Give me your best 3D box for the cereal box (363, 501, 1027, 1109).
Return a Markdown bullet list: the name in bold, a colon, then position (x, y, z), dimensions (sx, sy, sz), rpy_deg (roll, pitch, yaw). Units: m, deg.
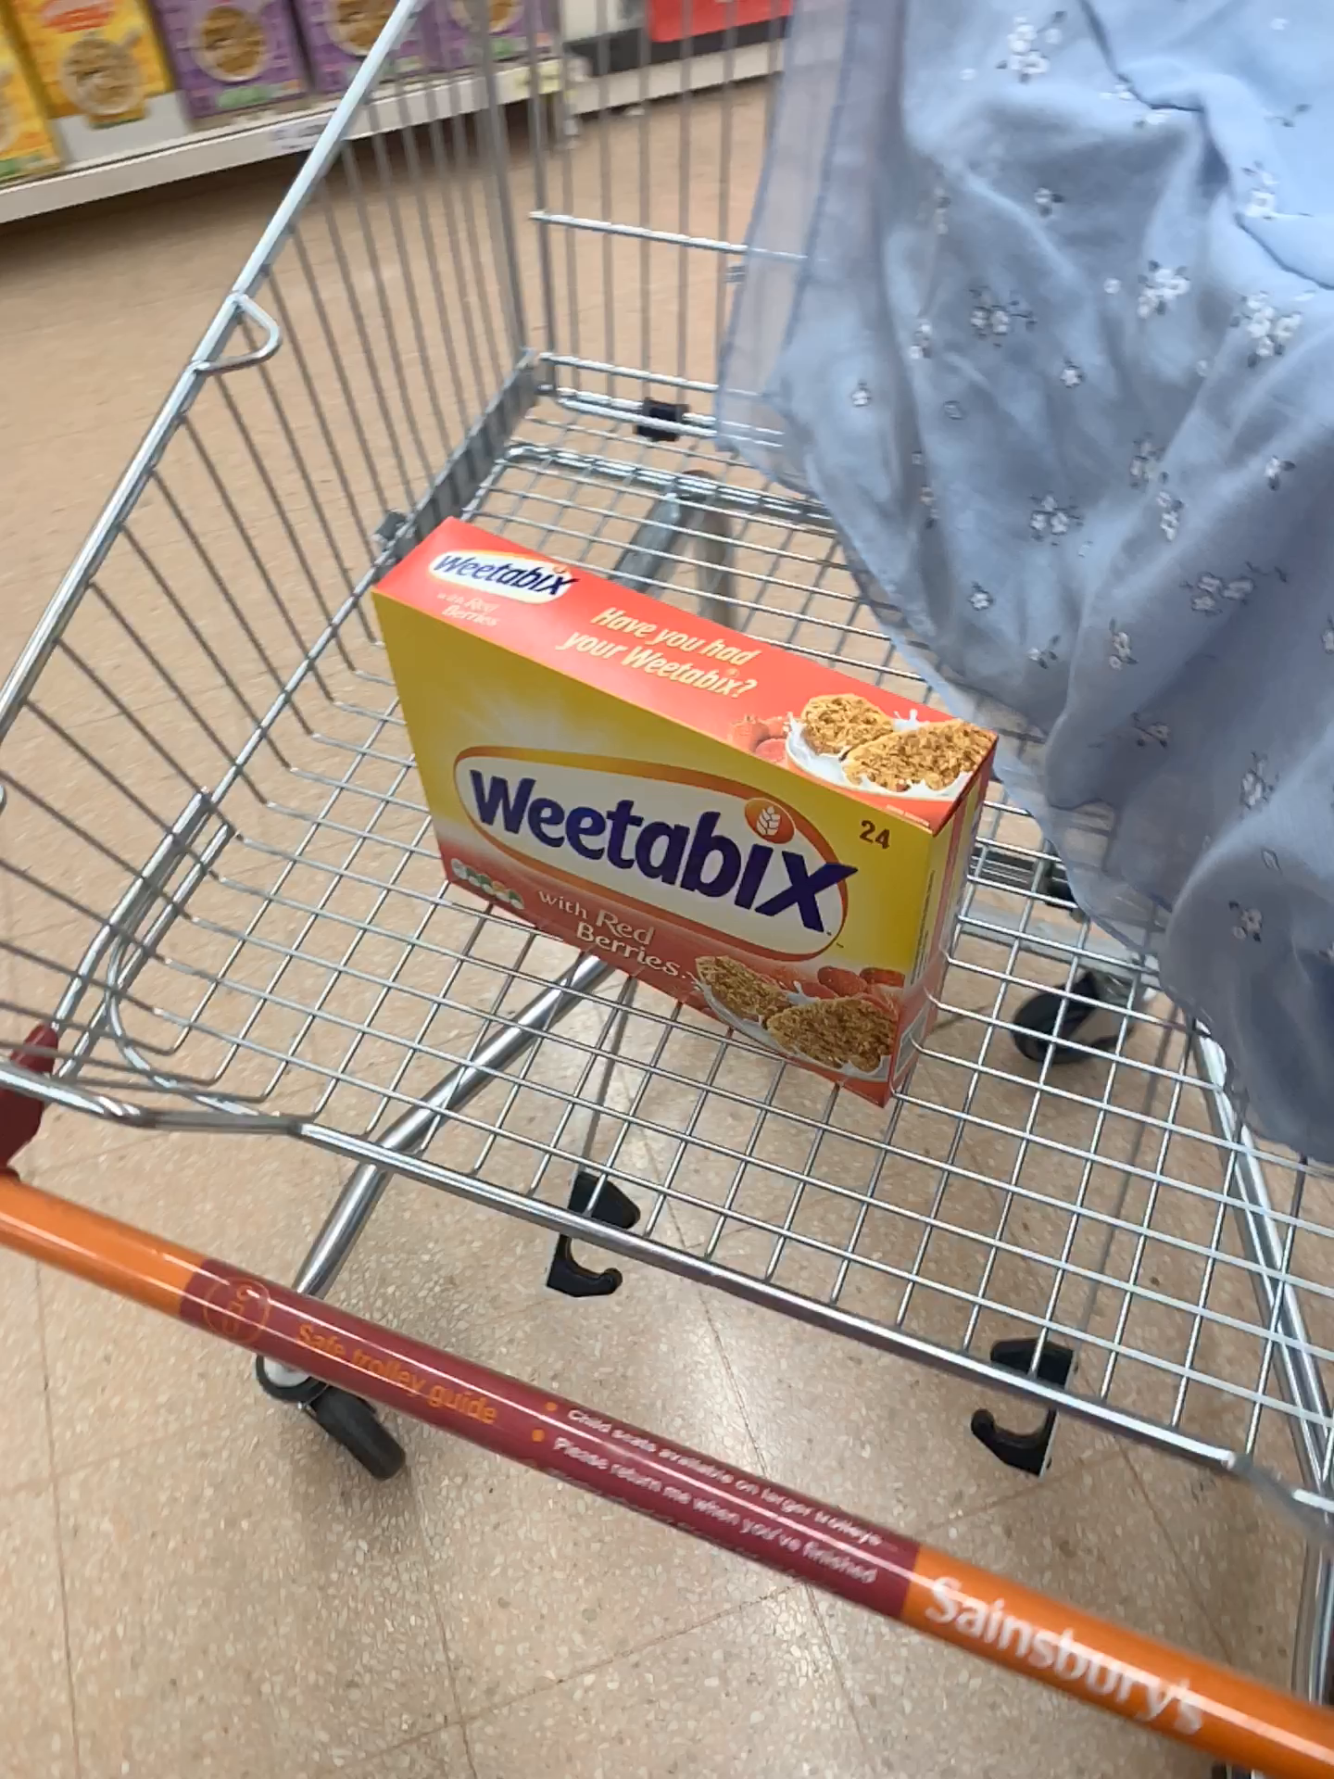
- **cereal box**: position (0.005, -0.033, 0.594), dimensions (0.261, 0.189, 0.060), rpy_deg (26, 57, 19)
